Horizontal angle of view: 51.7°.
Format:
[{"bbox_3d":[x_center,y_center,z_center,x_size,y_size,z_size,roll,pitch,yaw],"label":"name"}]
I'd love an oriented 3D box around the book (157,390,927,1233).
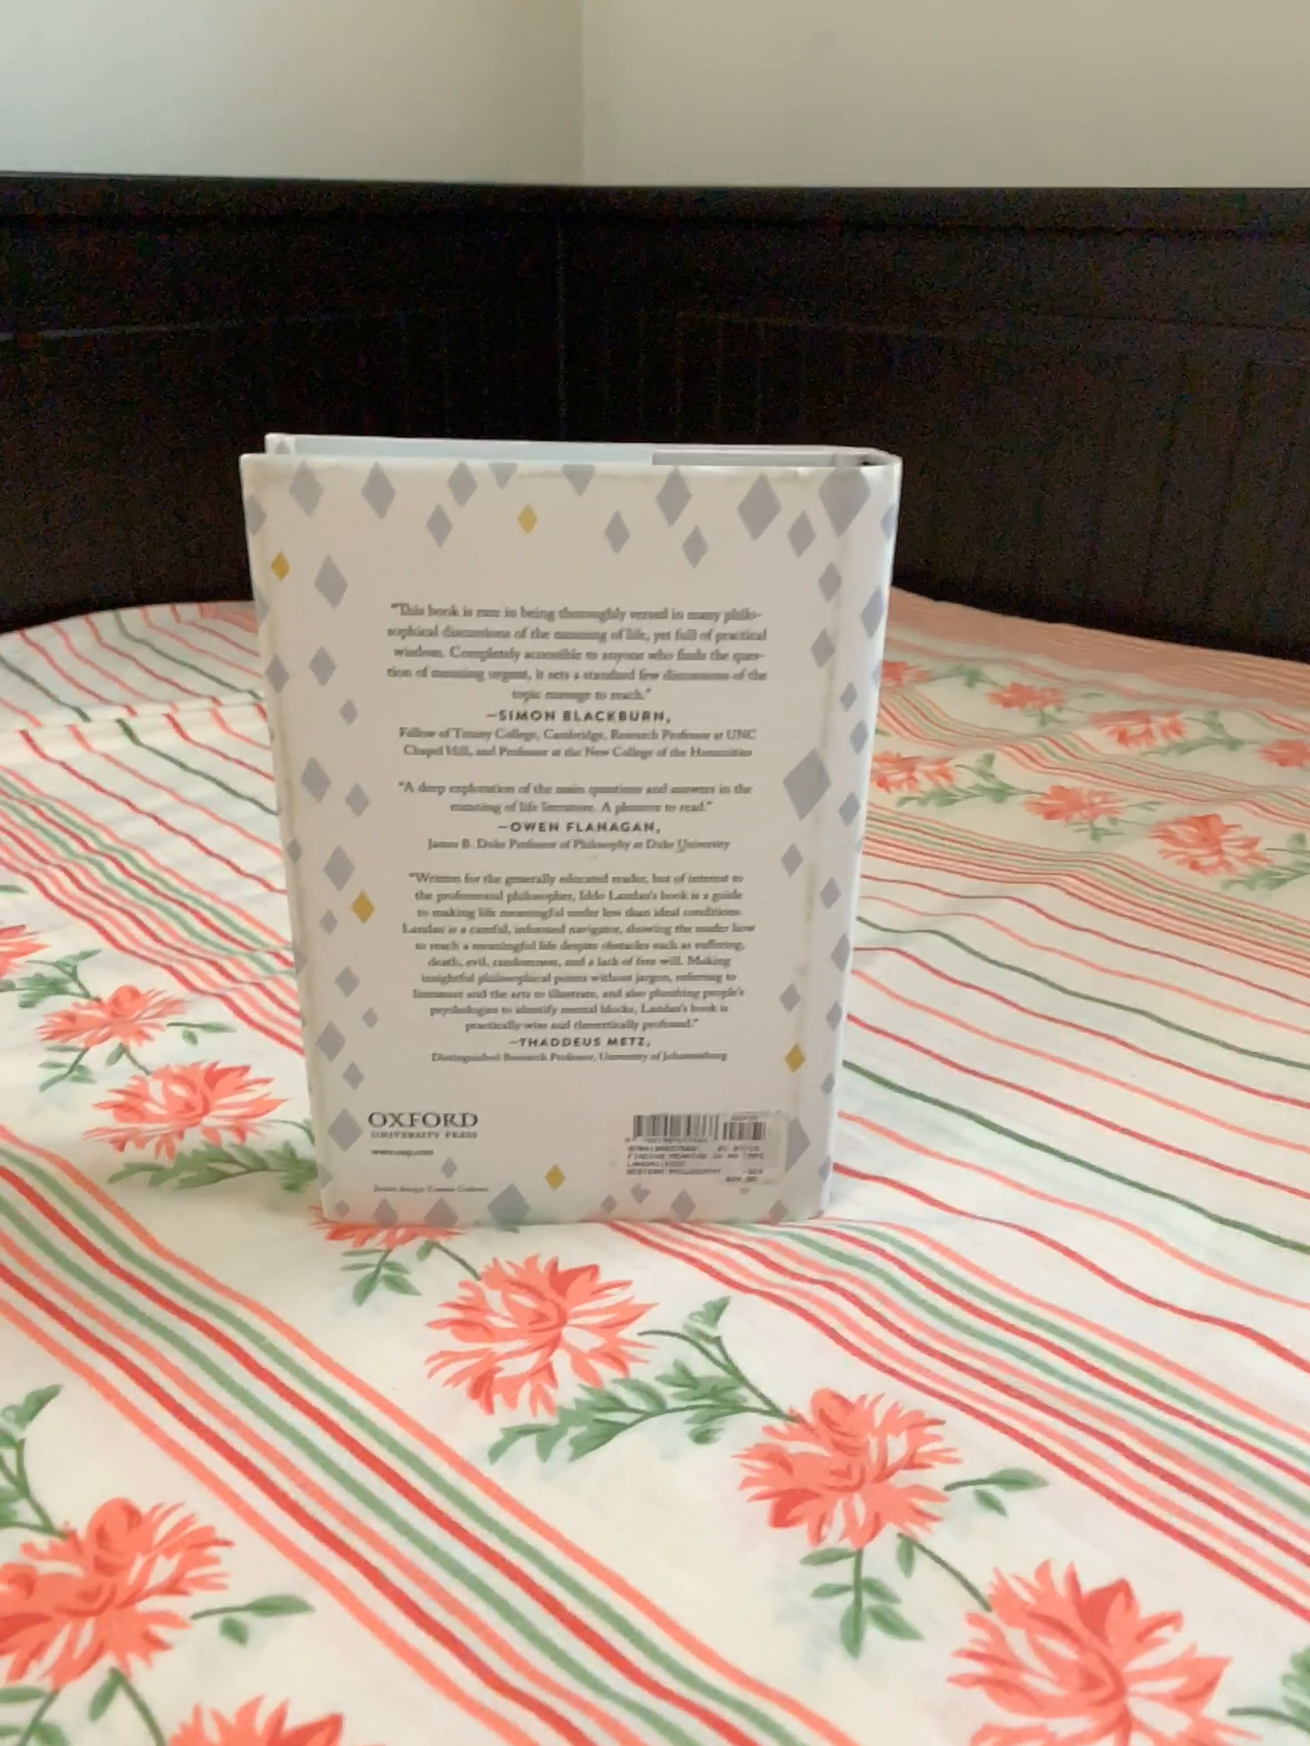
[{"bbox_3d":[-0.025,-0.004,0.343,0.160,0.218,0.030,0,26,-2],"label":"book"}]
